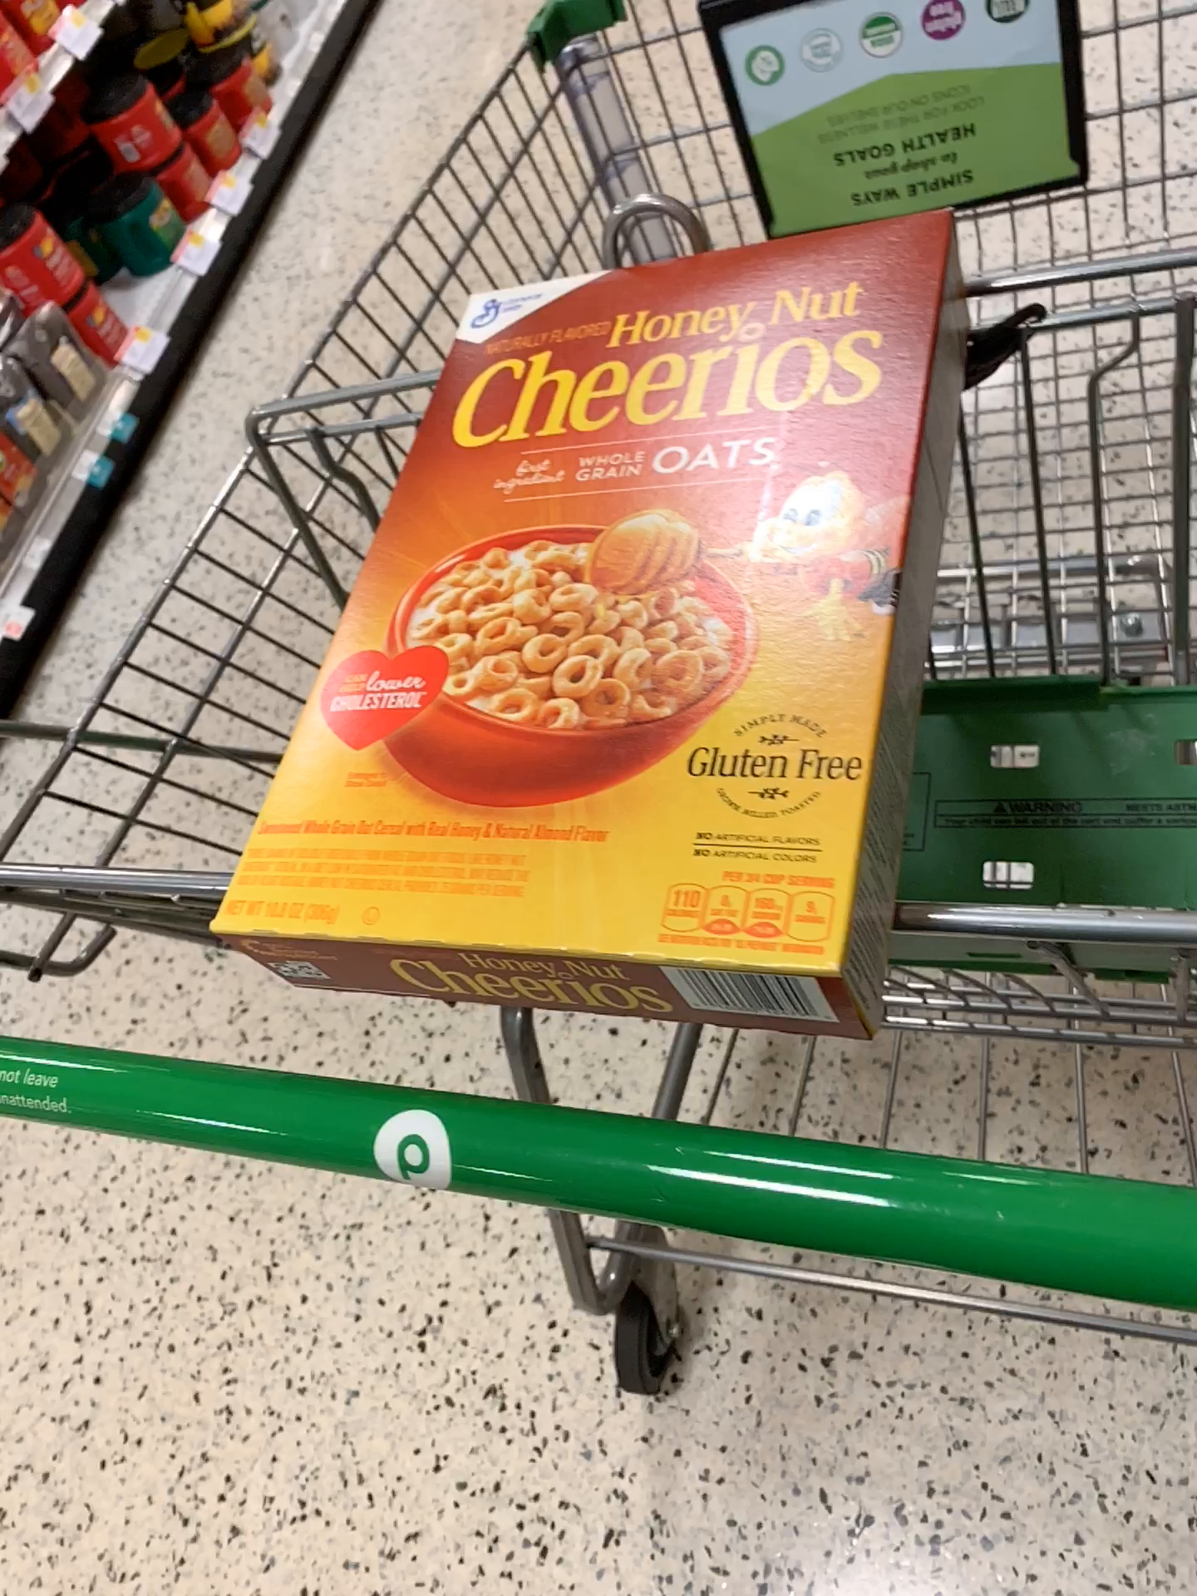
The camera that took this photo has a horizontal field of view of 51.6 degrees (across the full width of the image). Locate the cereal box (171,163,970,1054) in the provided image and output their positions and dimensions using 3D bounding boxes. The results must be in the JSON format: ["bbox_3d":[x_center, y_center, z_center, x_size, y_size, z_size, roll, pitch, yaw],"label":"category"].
[{"bbox_3d":[0.006,-0.074,0.416,0.200,0.060,0.292,0,60,26],"label":"cereal box"}]
